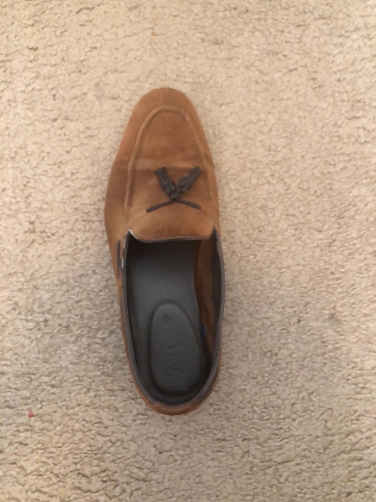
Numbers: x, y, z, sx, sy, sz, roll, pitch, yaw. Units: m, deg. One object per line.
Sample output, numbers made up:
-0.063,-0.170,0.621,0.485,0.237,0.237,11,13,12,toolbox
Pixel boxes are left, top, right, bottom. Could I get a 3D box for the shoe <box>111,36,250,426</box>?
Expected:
-0.009,-0.017,0.366,0.090,0.100,0.292,-3,84,-2,shoe
